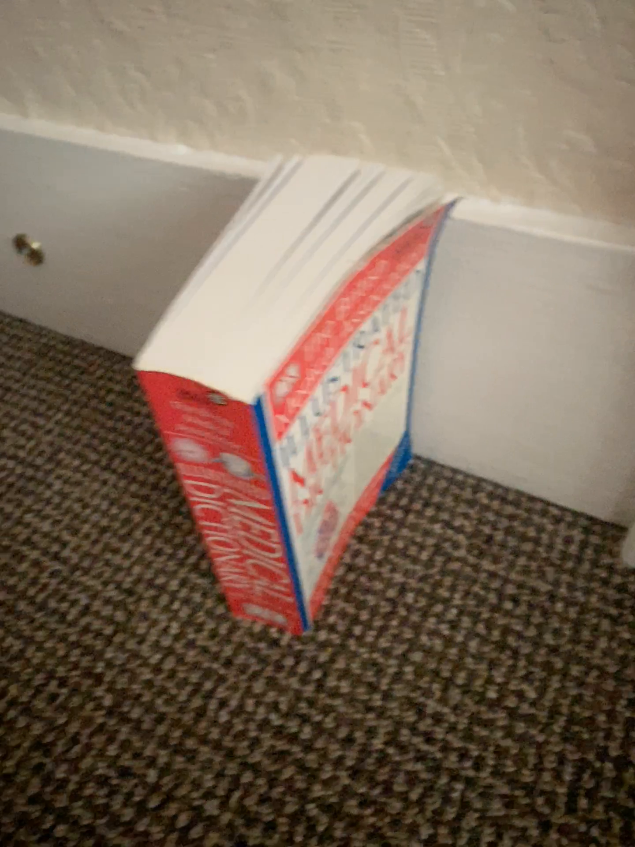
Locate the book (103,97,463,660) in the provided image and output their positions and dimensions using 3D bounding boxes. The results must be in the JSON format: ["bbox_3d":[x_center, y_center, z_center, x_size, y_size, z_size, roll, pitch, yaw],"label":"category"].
[{"bbox_3d":[0.005,-0.019,0.332,0.060,0.198,0.191,17,53,19],"label":"book"}]
